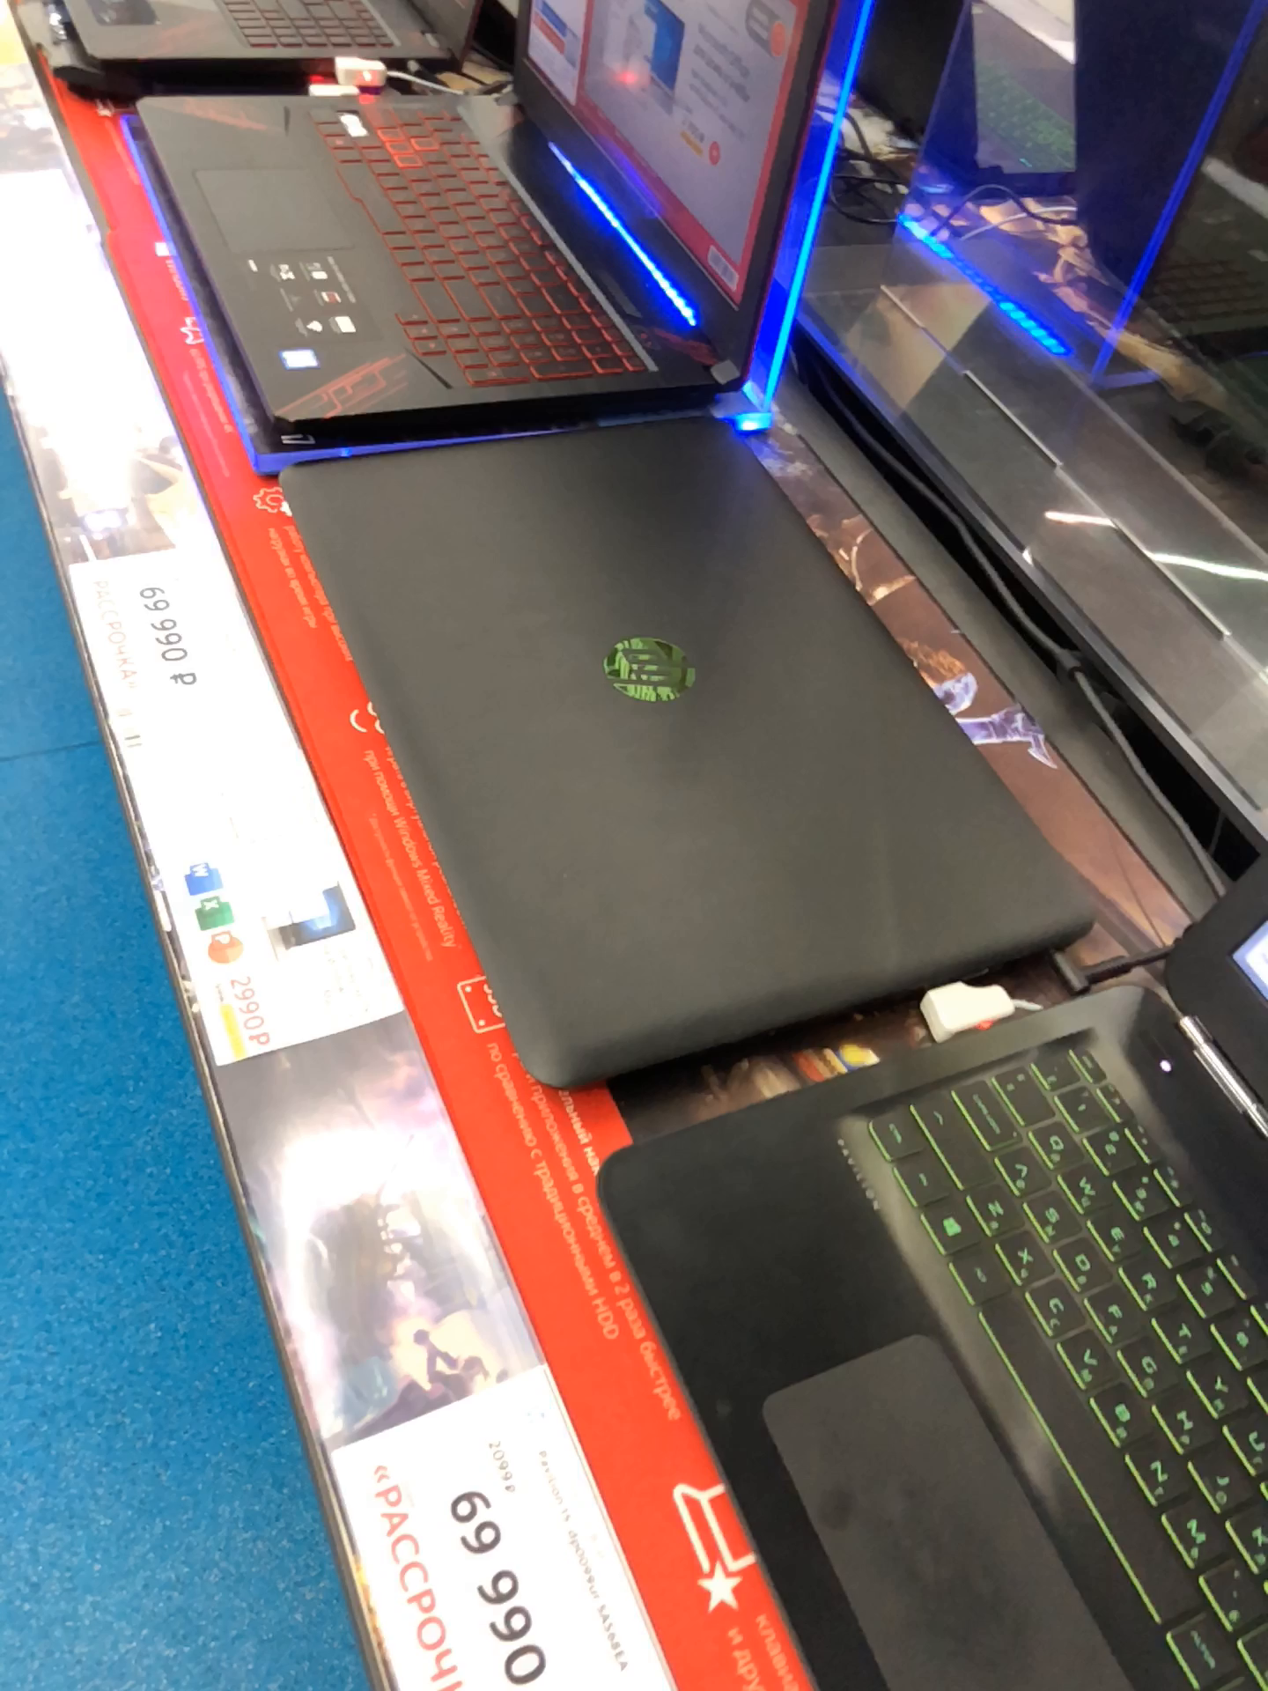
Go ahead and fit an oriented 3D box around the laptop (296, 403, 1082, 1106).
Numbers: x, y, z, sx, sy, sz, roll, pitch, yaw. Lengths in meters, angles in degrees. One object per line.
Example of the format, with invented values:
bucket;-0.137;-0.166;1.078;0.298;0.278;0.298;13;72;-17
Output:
laptop;0.006;-0.075;0.627;0.233;0.012;0.366;-13;54;-19
